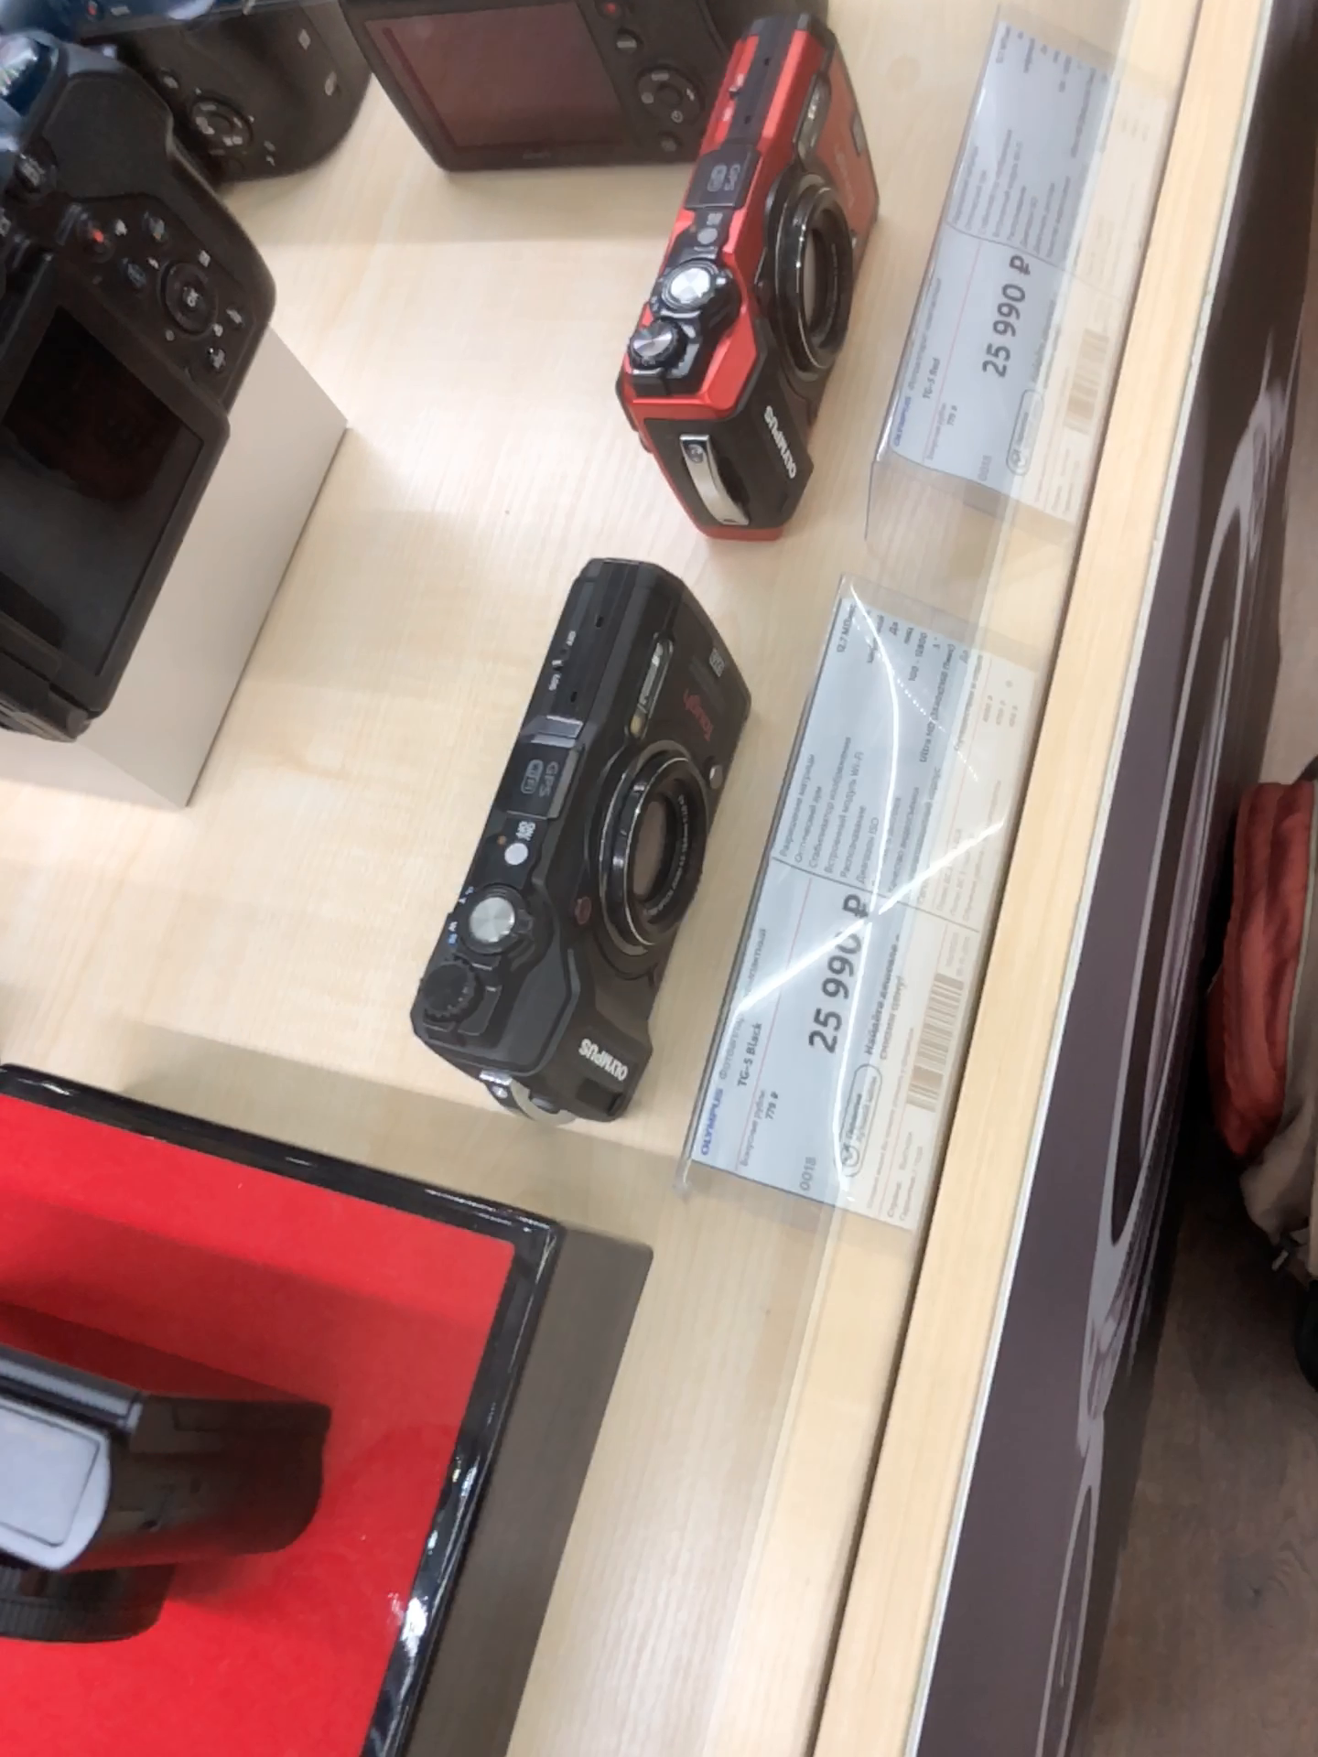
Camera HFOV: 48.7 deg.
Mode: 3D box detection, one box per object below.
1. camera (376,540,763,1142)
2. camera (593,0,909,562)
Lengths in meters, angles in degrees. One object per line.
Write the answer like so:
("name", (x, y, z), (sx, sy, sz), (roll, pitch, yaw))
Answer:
("camera", (-0.015, -0.008, 0.323), (0.030, 0.060, 0.117), (11, 72, 25))
("camera", (0.026, -0.145, 0.355), (0.030, 0.060, 0.117), (11, 72, 25))
